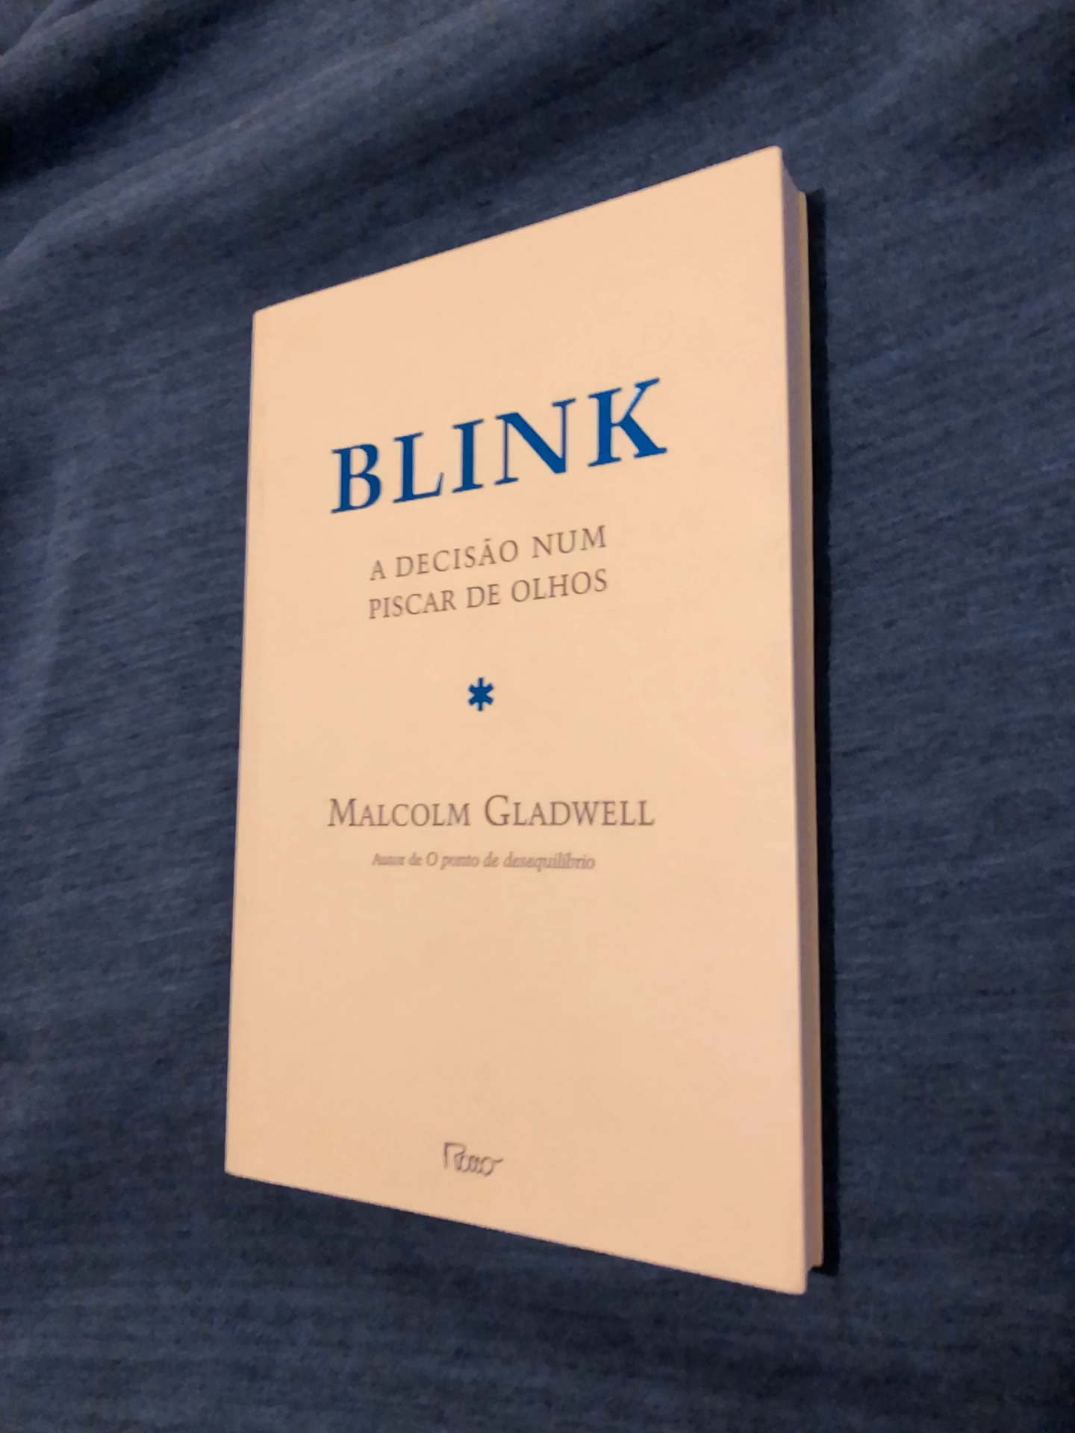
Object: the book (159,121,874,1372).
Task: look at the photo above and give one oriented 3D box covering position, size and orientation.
[{"bbox_3d":[-0.008,0.001,0.258,0.151,0.030,0.220,-3,79,30],"label":"book"}]
